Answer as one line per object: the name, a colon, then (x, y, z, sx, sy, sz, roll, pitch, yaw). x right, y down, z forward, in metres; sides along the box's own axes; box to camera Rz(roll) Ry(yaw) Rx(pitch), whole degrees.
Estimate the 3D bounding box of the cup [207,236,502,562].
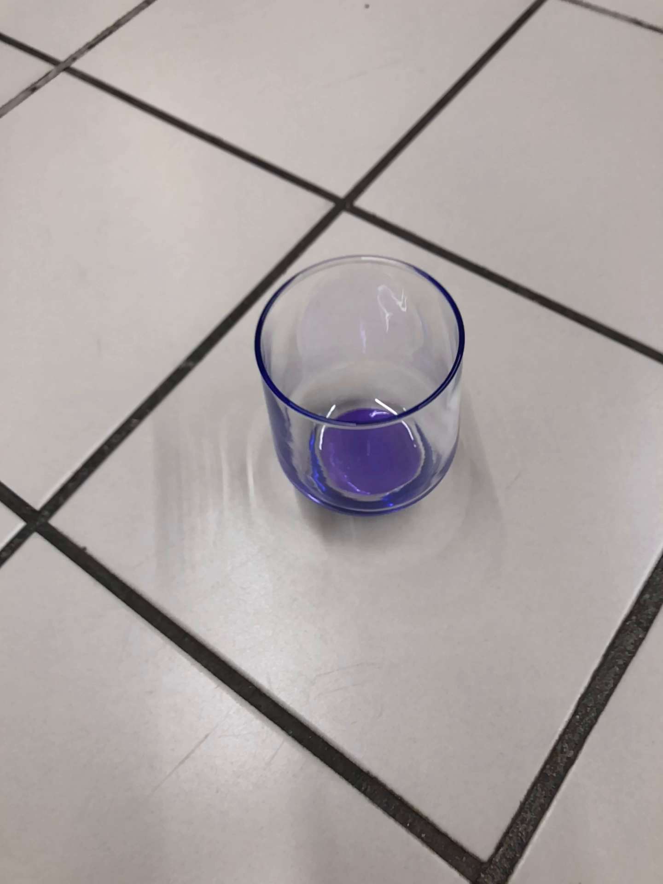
cup: (0.007, -0.013, 0.254, 0.069, 0.063, 0.071, -2, 61, 3)
